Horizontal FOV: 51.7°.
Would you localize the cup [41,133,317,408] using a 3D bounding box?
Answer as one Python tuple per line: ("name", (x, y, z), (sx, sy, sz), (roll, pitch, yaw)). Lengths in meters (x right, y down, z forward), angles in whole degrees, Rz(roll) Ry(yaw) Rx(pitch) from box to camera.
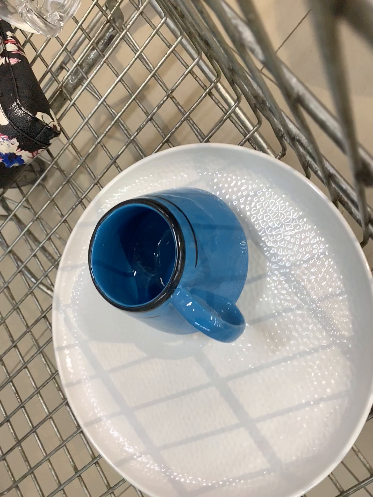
("cup", (-0.003, 0.009, 0.261), (0.130, 0.090, 0.100), (38, 105, 21))
